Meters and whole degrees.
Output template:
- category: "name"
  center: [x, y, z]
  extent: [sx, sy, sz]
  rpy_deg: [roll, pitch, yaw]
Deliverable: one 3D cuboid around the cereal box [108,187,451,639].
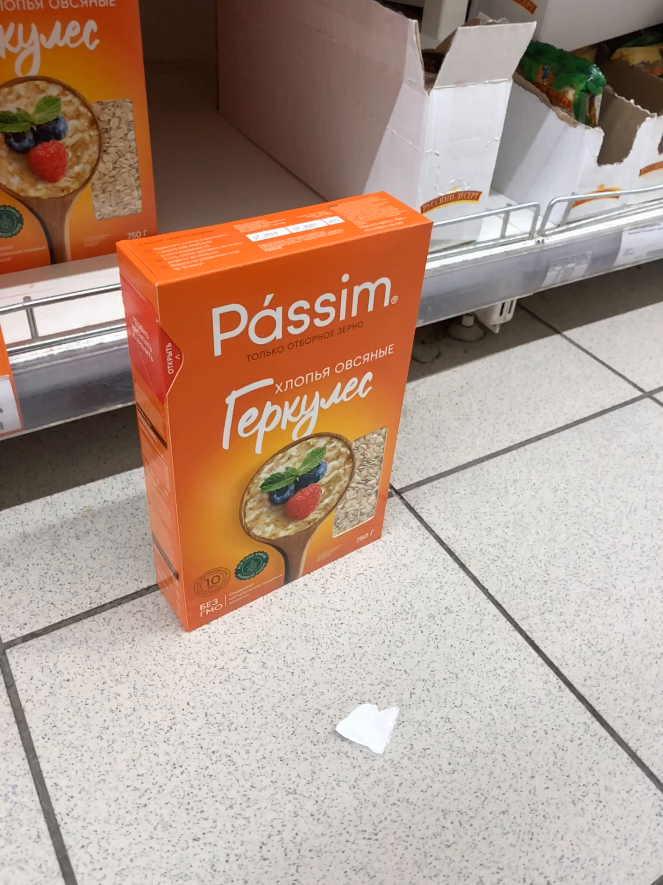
- category: "cereal box"
  center: [-0.029, -0.011, 0.446]
  extent: [0.170, 0.249, 0.050]
  rpy_deg: [-22, 47, -28]
